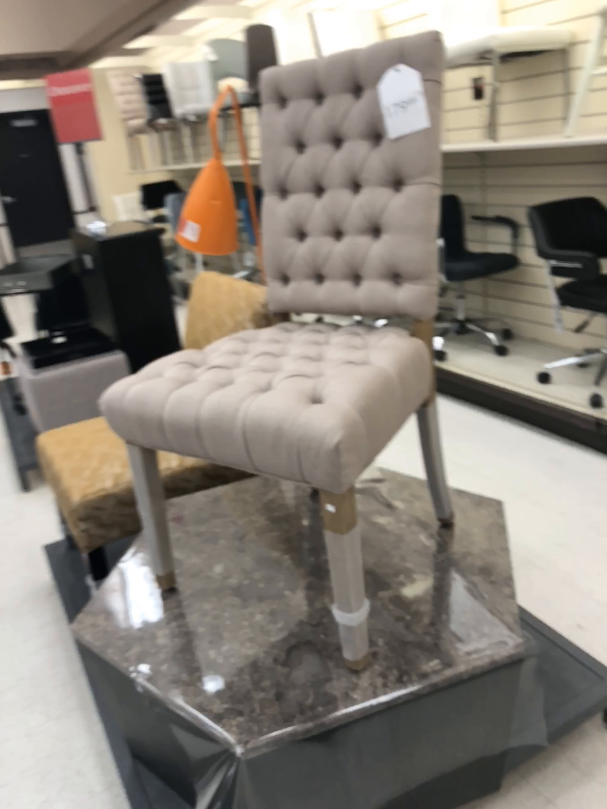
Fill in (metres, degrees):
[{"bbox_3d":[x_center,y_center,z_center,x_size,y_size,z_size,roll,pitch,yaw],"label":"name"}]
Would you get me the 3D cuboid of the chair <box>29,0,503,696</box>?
[{"bbox_3d":[0.005,-0.129,1.348,0.571,1.046,0.581,8,26,36],"label":"chair"}]
